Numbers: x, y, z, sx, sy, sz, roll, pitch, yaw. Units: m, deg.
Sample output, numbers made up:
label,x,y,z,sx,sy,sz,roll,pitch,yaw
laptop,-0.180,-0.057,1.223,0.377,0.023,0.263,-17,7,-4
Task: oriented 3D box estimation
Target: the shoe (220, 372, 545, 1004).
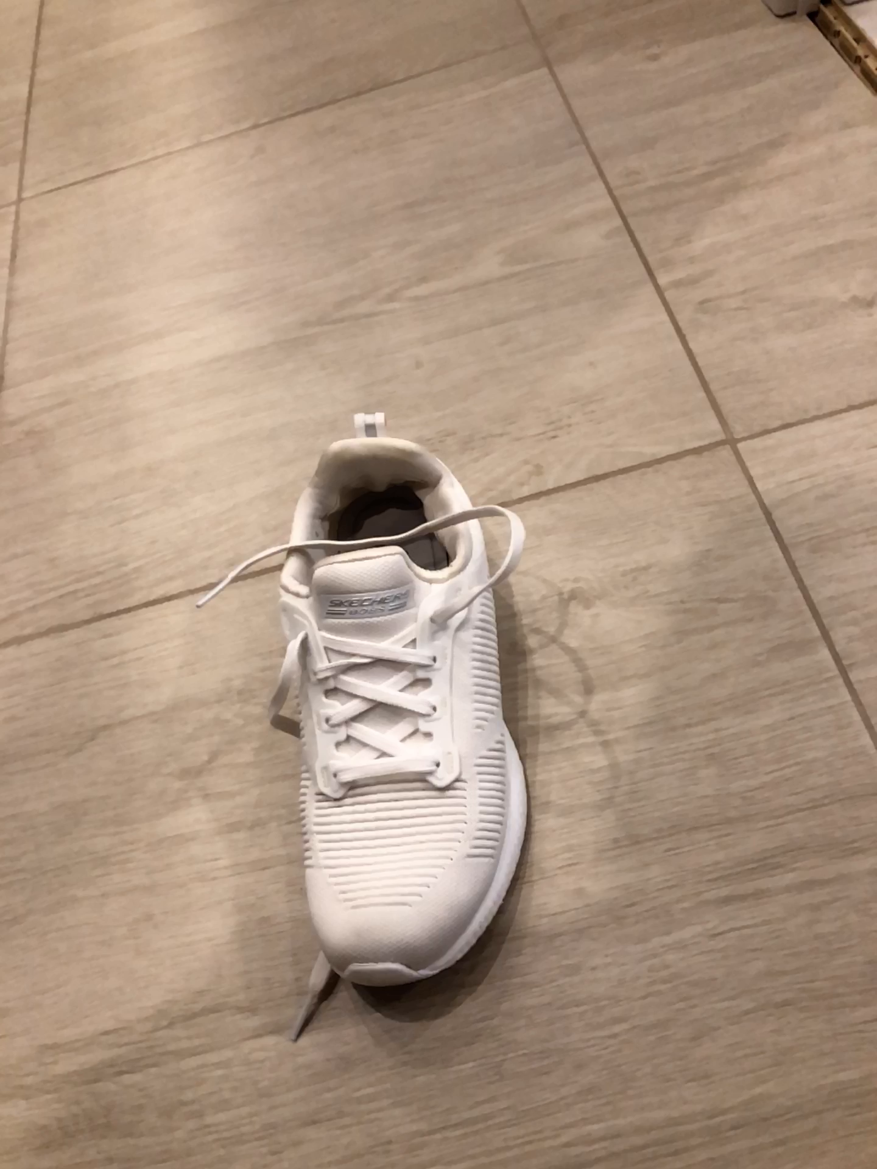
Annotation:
label,x,y,z,sx,sy,sz,roll,pitch,yaw
shoe,-0.017,0.043,0.411,0.090,0.119,0.231,-8,58,9
